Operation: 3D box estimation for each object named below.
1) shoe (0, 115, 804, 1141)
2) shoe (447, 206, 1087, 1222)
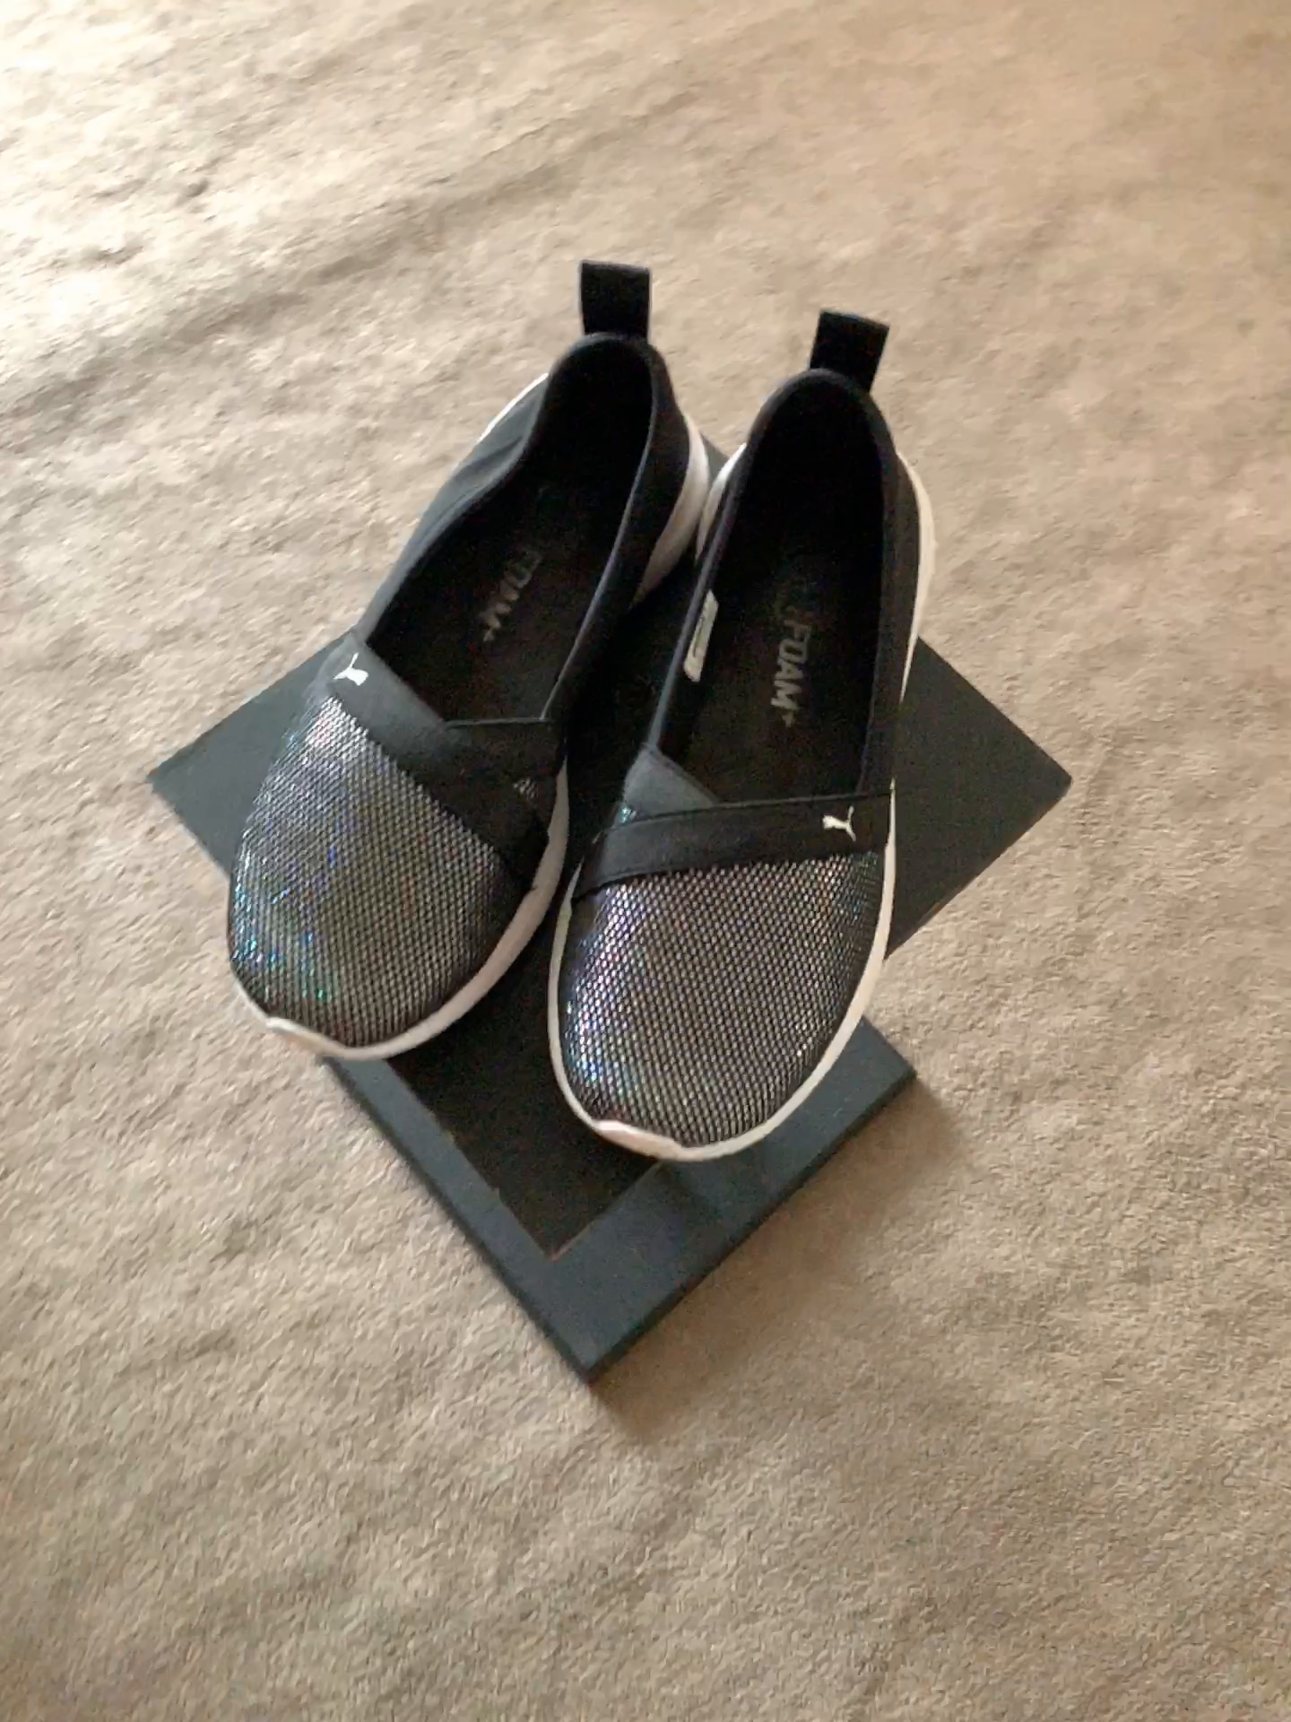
[{"bbox_3d":[-0.052,-0.069,0.381,0.100,0.100,0.261,21,69,6],"label":"shoe"},{"bbox_3d":[0.039,-0.043,0.381,0.100,0.100,0.257,16,69,4],"label":"shoe"}]
